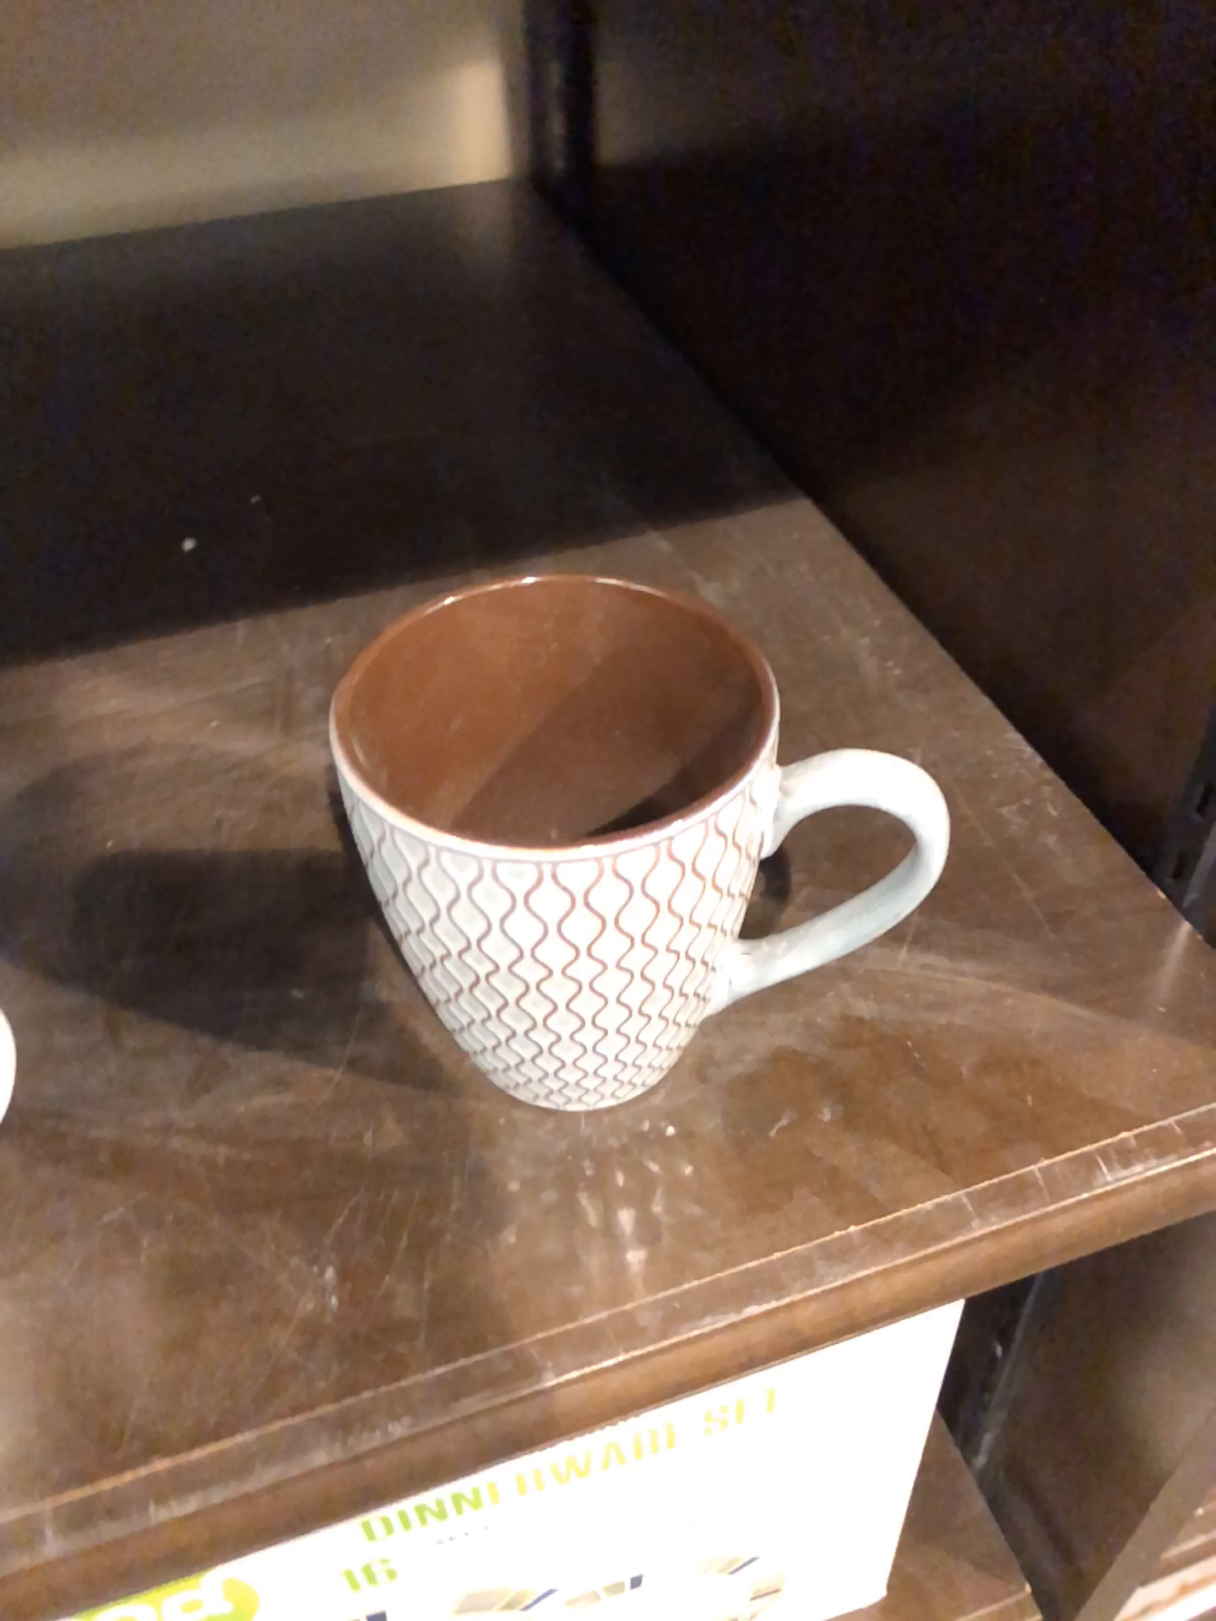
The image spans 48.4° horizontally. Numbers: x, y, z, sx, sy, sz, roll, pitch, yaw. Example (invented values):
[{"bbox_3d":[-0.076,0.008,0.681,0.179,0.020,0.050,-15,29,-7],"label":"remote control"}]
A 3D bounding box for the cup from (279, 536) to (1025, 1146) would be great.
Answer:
[{"bbox_3d":[0.007,0.008,0.304,0.132,0.098,0.085,-4,47,-1],"label":"cup"}]
